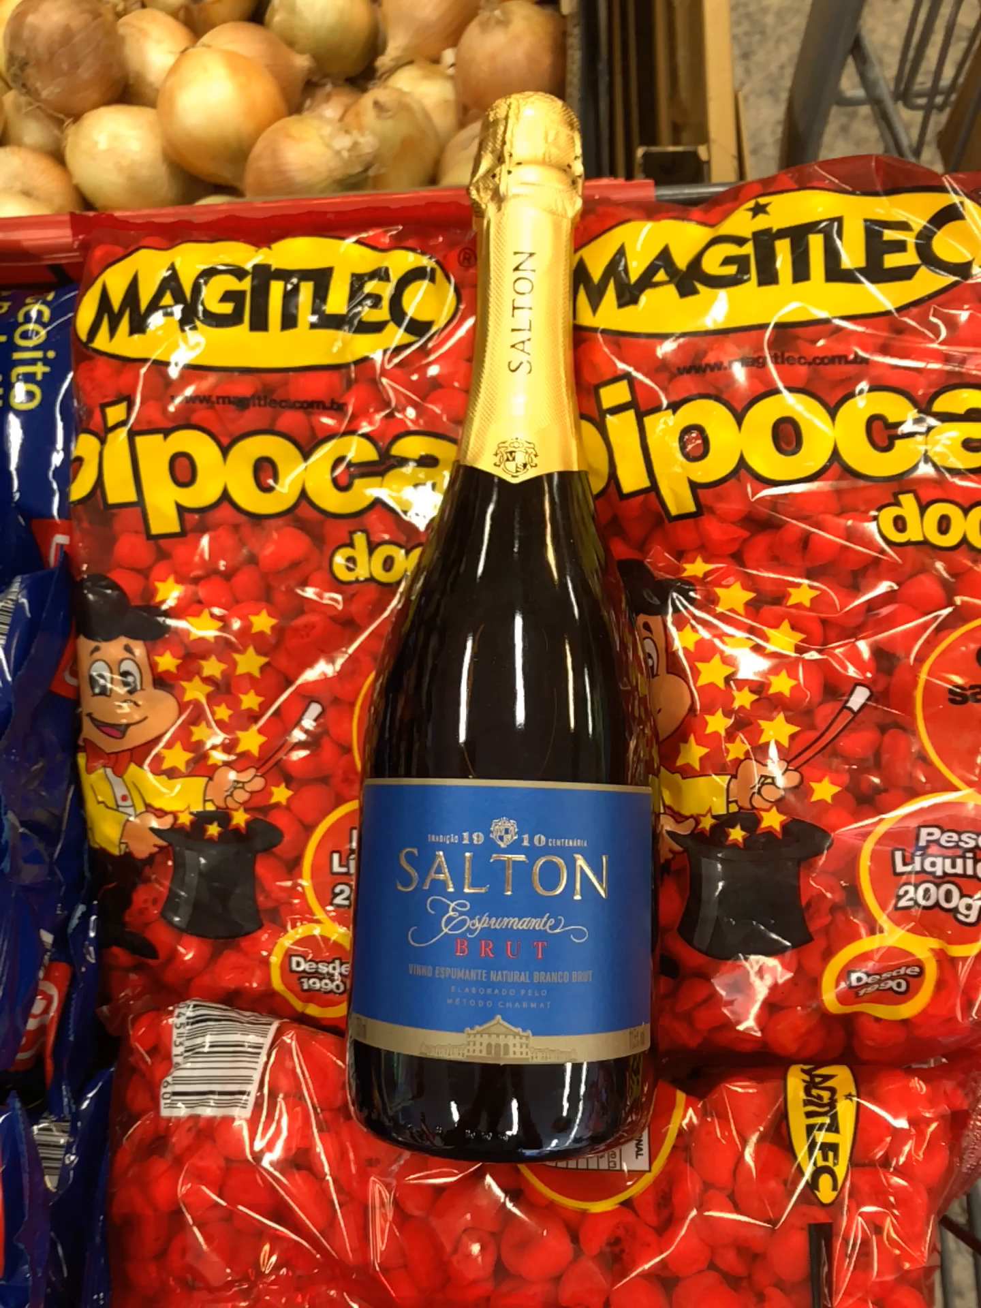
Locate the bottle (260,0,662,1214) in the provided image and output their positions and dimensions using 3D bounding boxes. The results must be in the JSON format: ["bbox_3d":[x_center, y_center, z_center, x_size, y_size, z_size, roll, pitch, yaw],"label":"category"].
[{"bbox_3d":[-0.002,-0.022,0.311,0.090,0.080,0.310,1,85,5],"label":"bottle"}]
